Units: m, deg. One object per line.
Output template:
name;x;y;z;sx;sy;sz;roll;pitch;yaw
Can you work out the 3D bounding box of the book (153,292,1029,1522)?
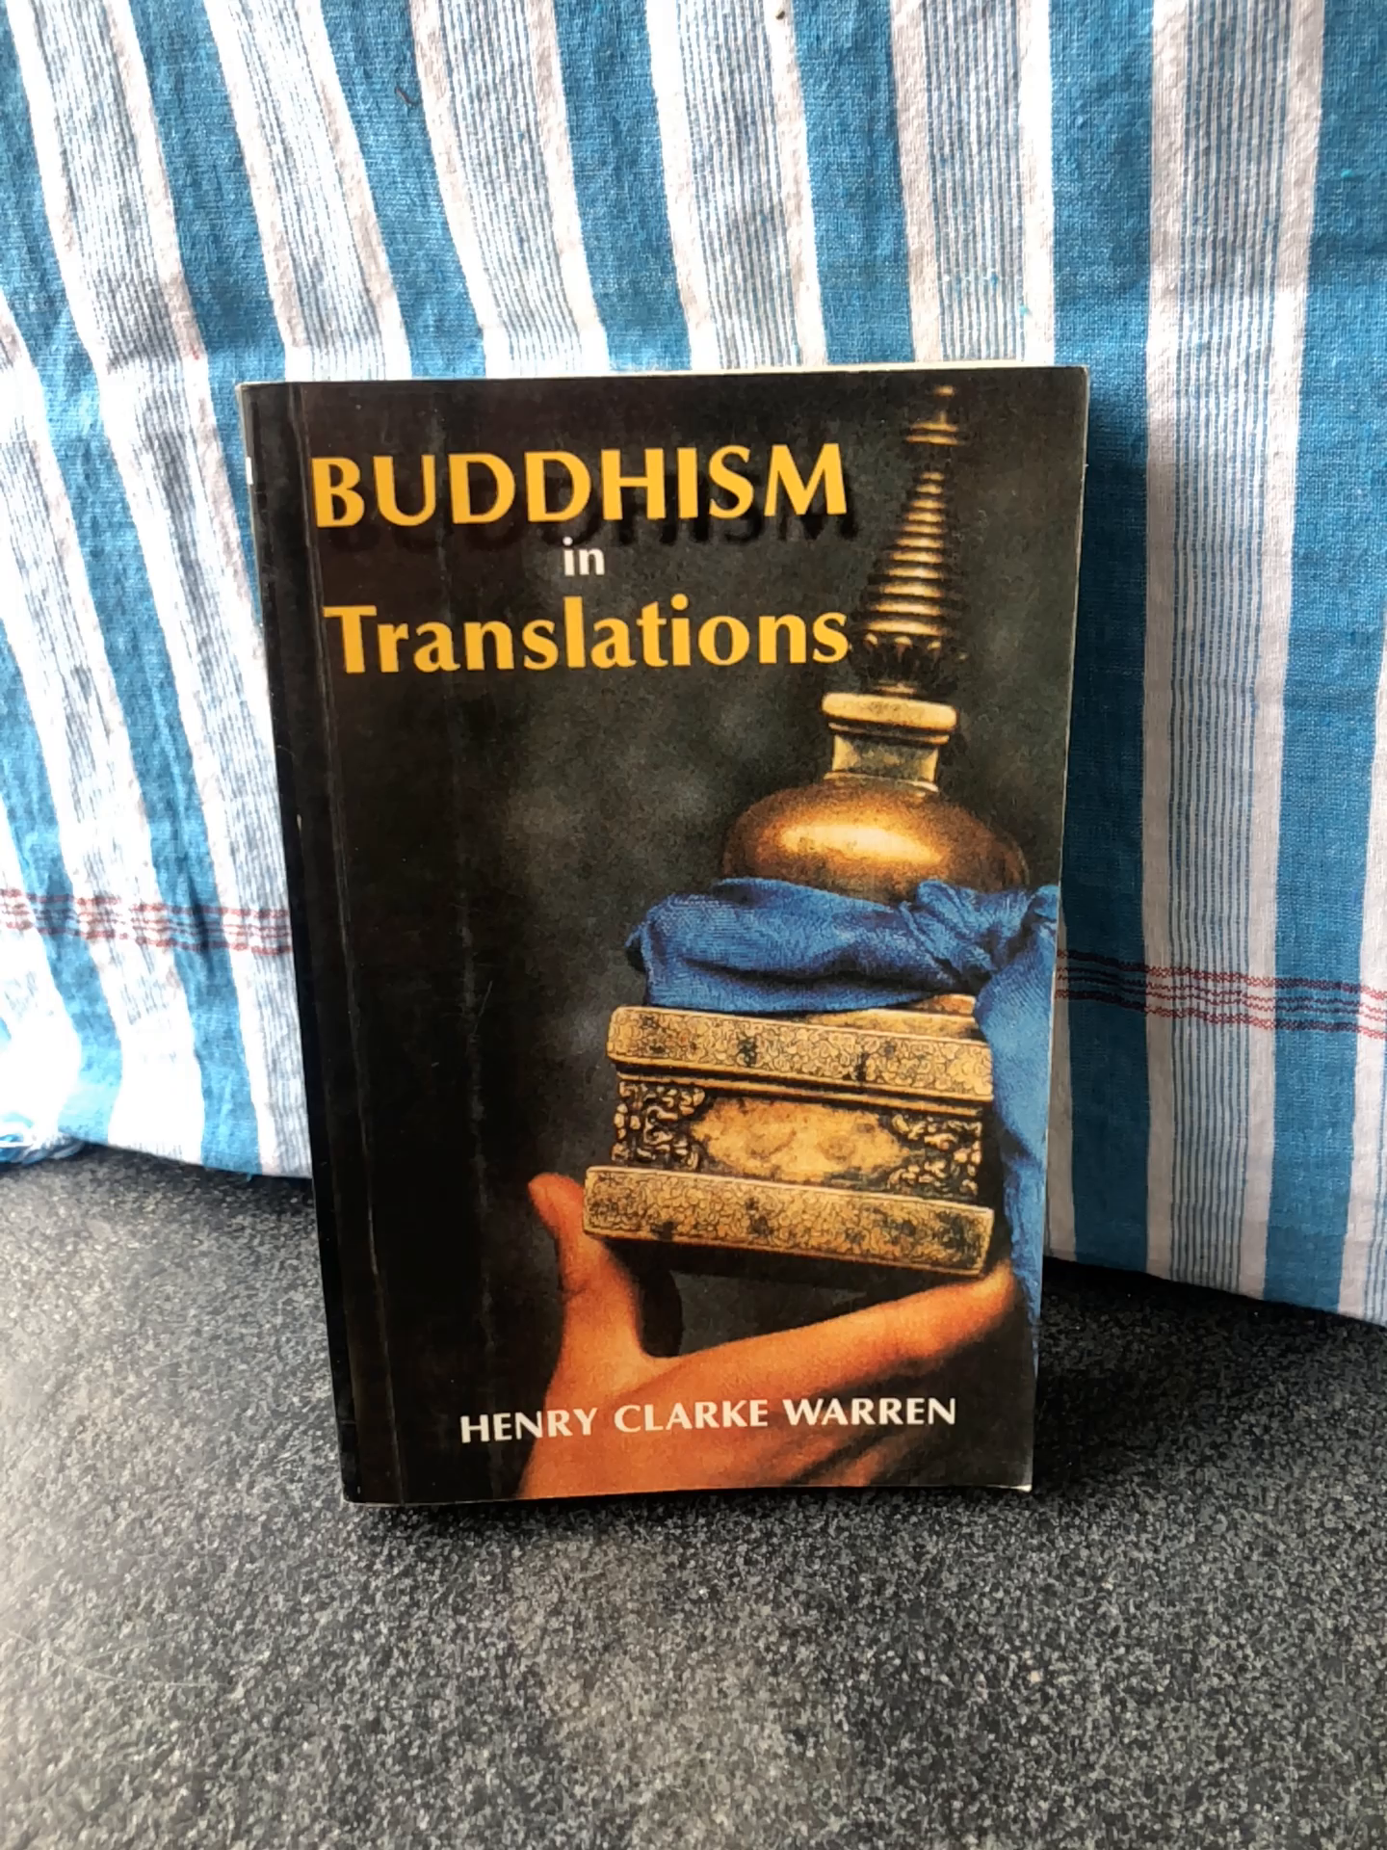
book;-0.014;0.000;0.288;0.140;0.210;0.050;-1;10;1
